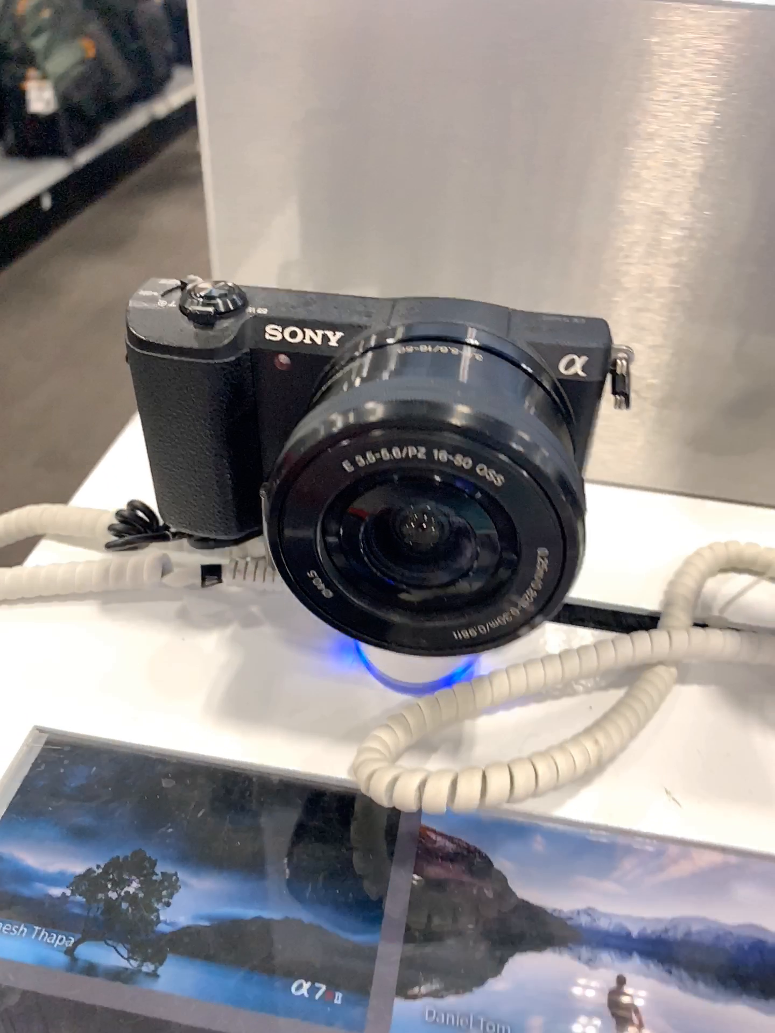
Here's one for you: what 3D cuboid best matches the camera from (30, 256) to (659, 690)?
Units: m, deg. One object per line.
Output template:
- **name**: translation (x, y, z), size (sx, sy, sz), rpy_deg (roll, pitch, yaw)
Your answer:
- **camera**: translation (-0.006, -0.013, 0.188), size (0.112, 0.060, 0.066), rpy_deg (7, 41, 4)
